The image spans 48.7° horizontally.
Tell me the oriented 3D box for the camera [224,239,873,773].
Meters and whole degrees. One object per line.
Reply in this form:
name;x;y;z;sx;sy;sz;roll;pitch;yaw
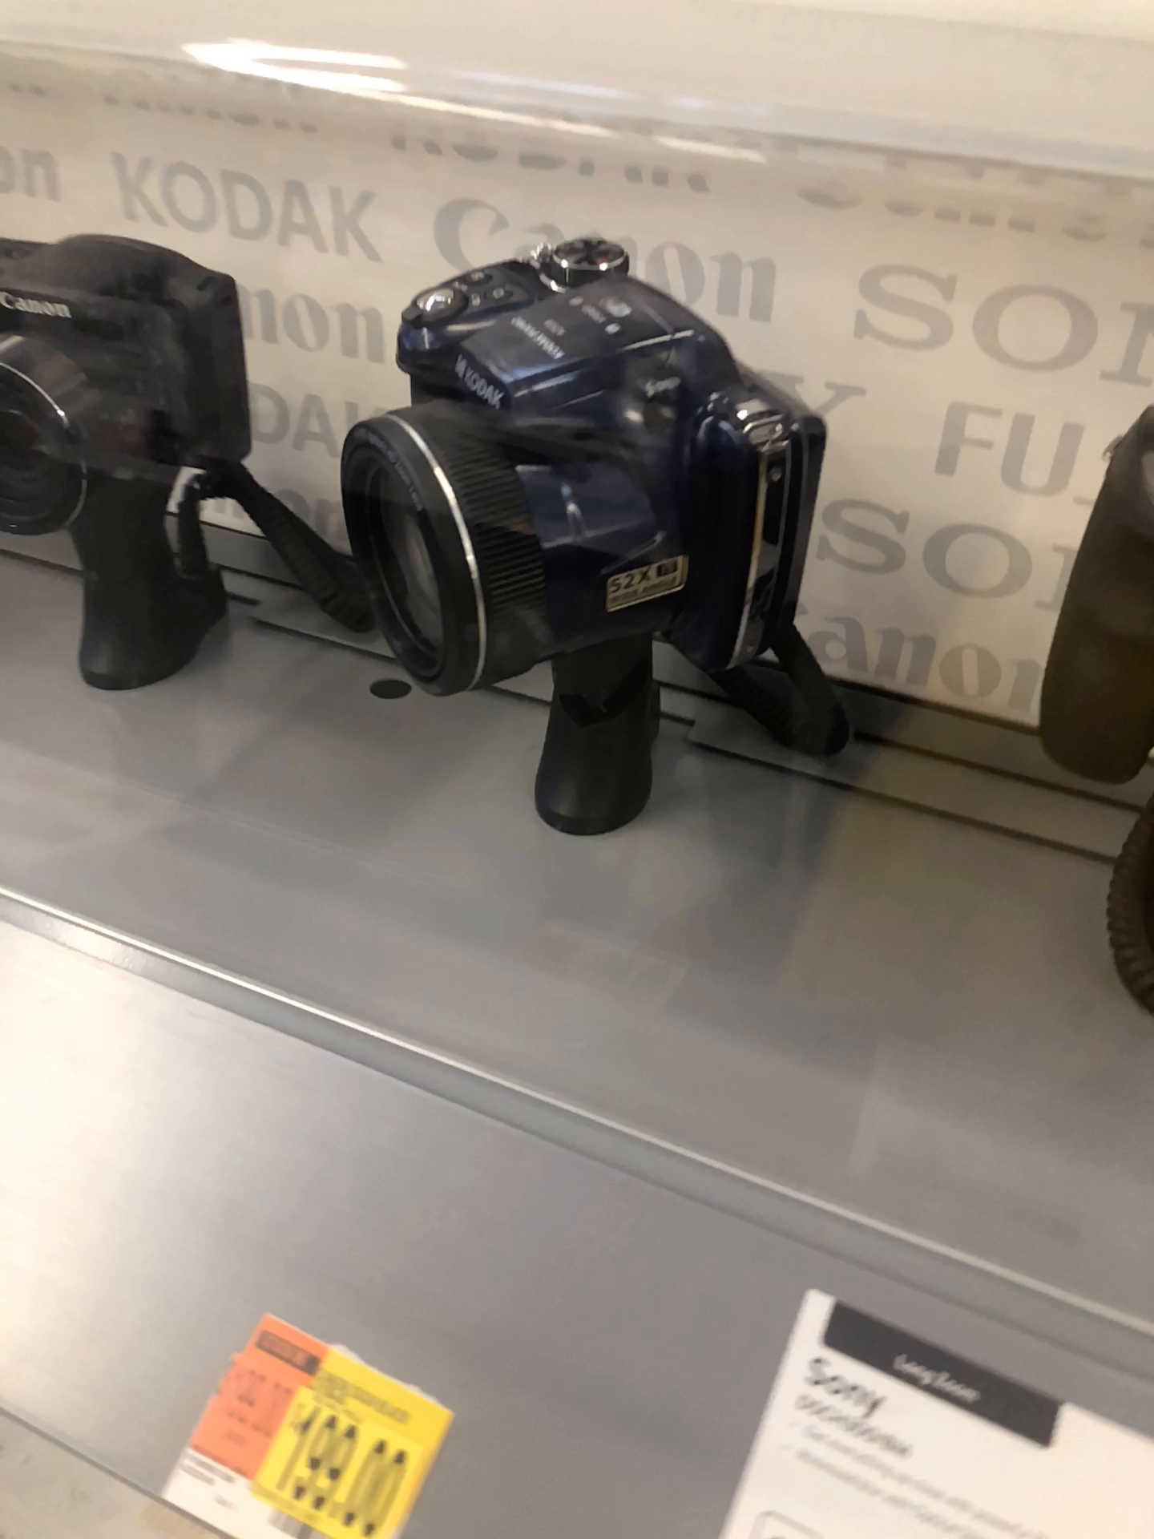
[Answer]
camera;-0.015;-0.080;0.339;0.110;0.080;0.130;-17;41;-28
